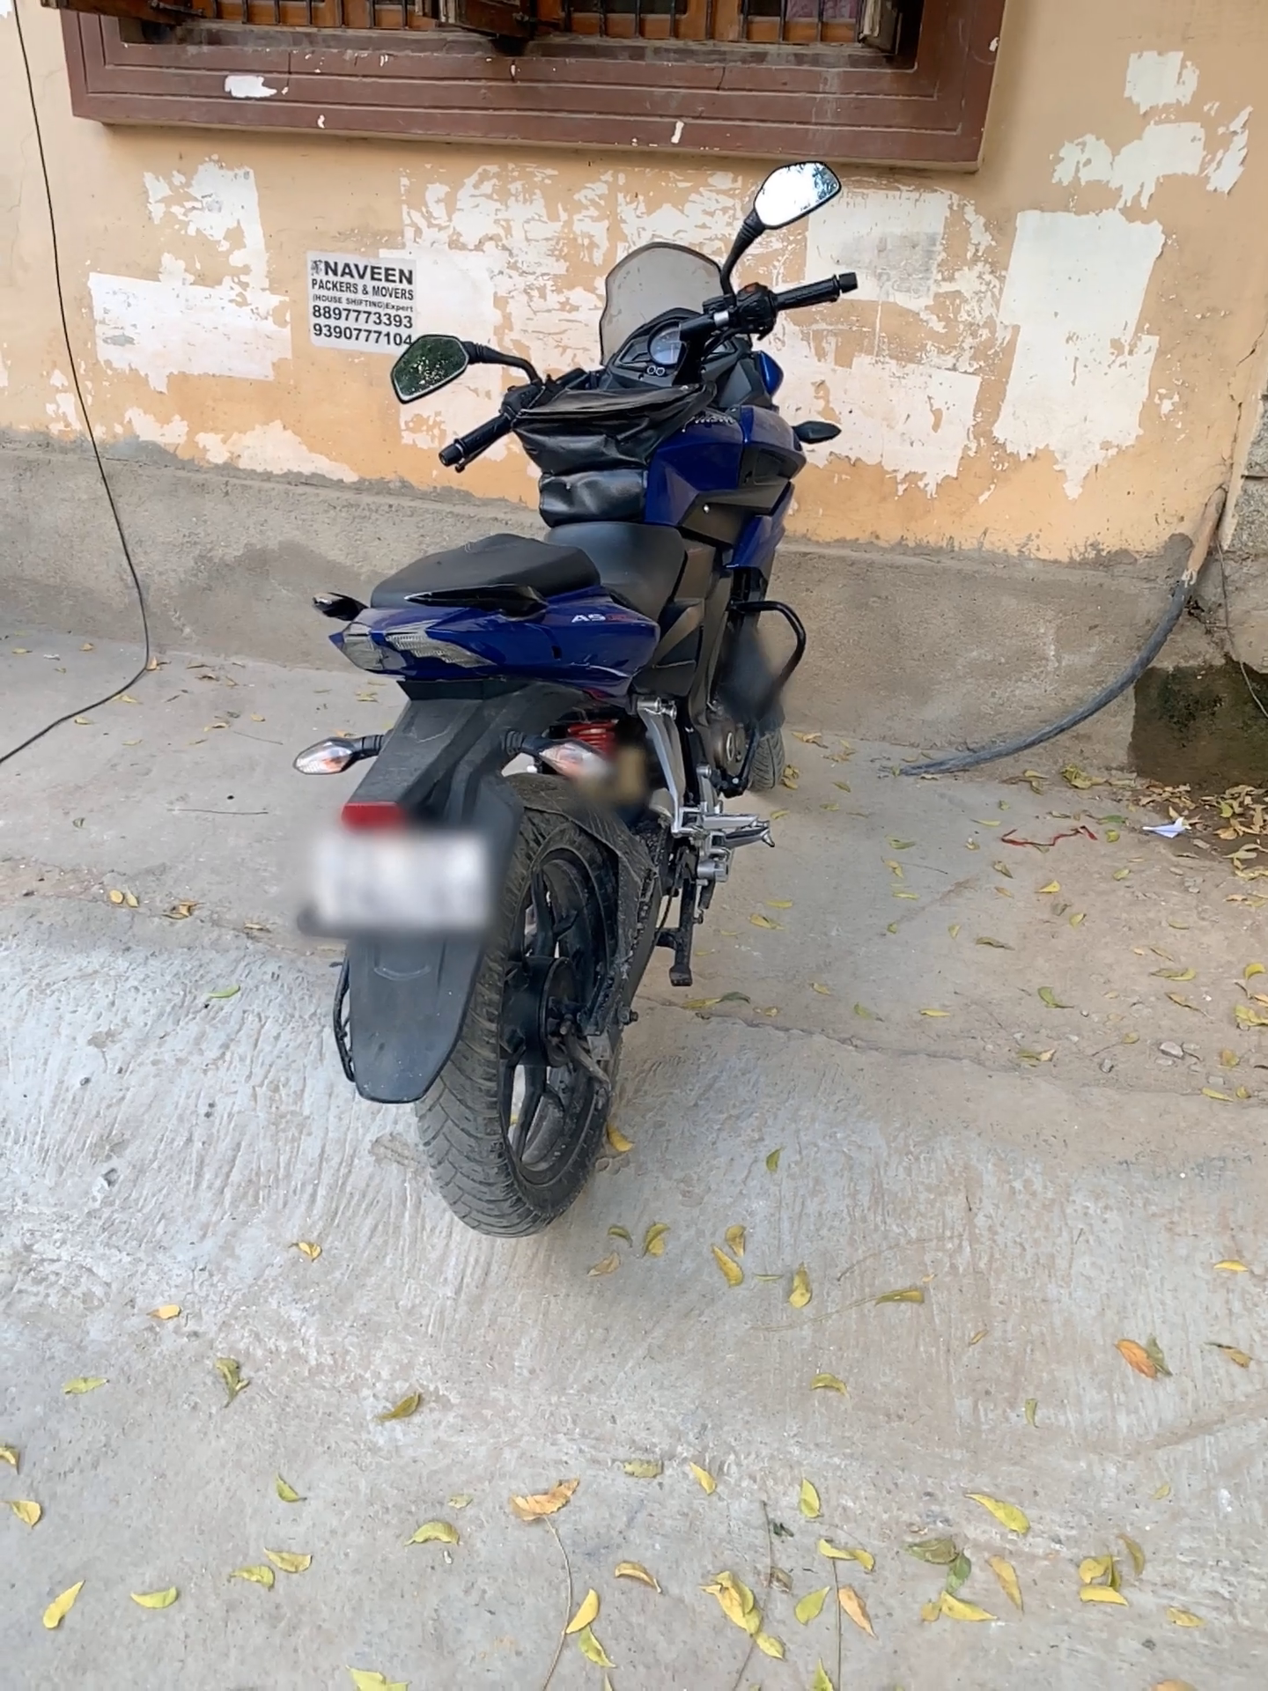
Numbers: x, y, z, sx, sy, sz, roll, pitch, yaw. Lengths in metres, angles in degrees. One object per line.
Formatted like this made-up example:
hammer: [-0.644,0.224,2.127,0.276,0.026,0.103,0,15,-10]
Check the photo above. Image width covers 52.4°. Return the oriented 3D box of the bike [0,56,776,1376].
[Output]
bike: [-0.320,-0.424,2.094,0.953,1.218,1.574,5,35,4]
